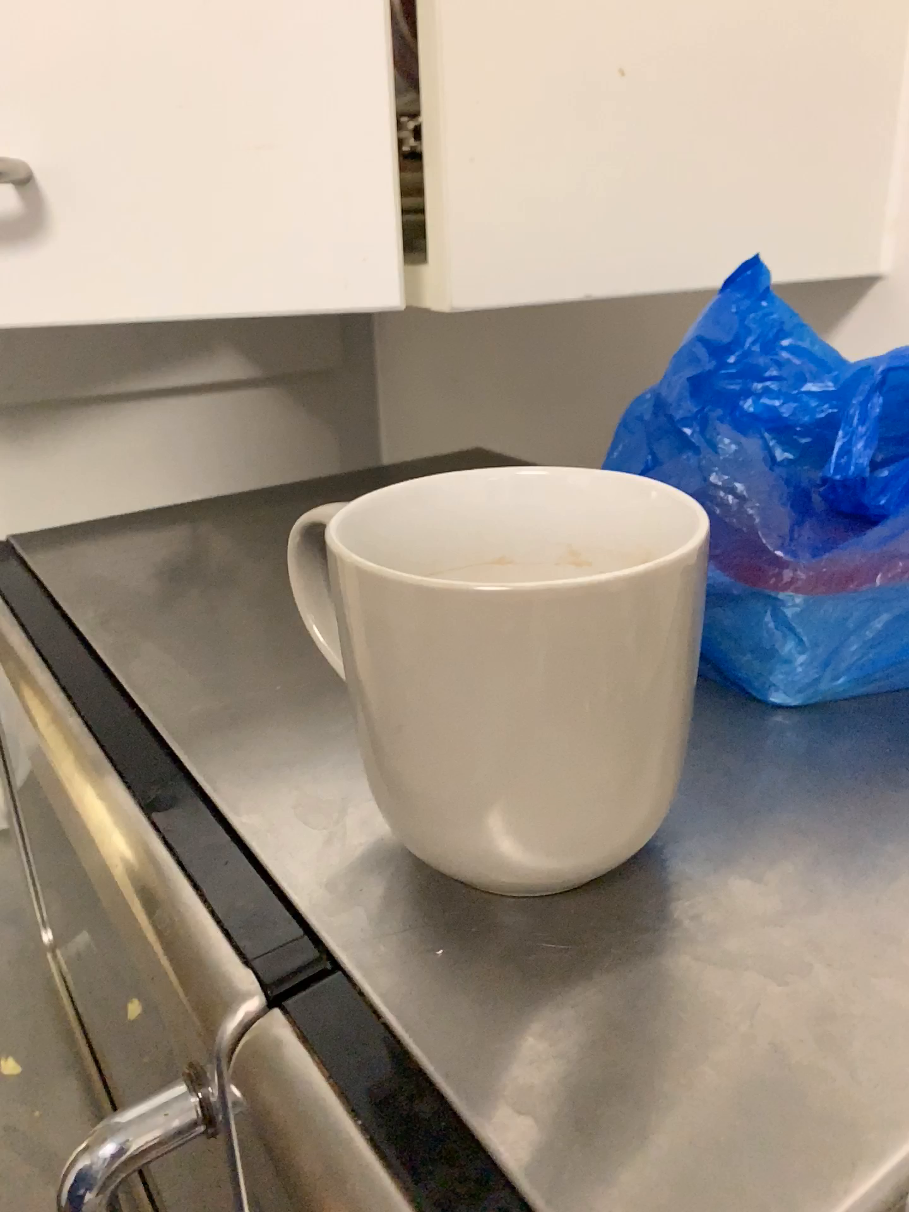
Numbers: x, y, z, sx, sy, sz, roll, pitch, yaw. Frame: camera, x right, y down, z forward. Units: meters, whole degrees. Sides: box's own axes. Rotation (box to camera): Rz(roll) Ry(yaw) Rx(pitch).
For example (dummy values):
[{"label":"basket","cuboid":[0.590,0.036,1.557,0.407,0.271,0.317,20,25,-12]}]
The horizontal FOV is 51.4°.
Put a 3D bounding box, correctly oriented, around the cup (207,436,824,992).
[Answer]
[{"label":"cup","cuboid":[0.009,0.010,0.248,0.094,0.078,0.129,-17,25,-30]}]
